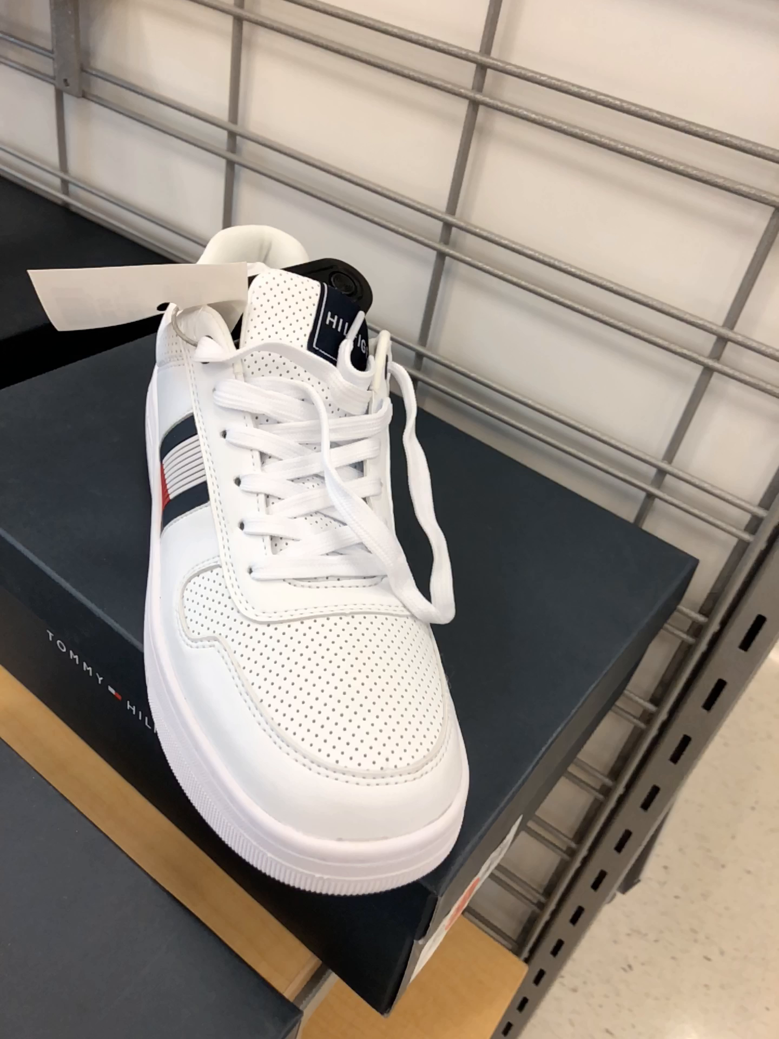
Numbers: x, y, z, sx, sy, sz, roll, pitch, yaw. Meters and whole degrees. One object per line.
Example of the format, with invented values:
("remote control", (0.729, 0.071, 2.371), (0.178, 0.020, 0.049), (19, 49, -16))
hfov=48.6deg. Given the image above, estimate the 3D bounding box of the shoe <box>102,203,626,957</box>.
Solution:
("shoe", (-0.043, -0.011, 0.331), (0.110, 0.109, 0.282), (-3, 41, -20))
